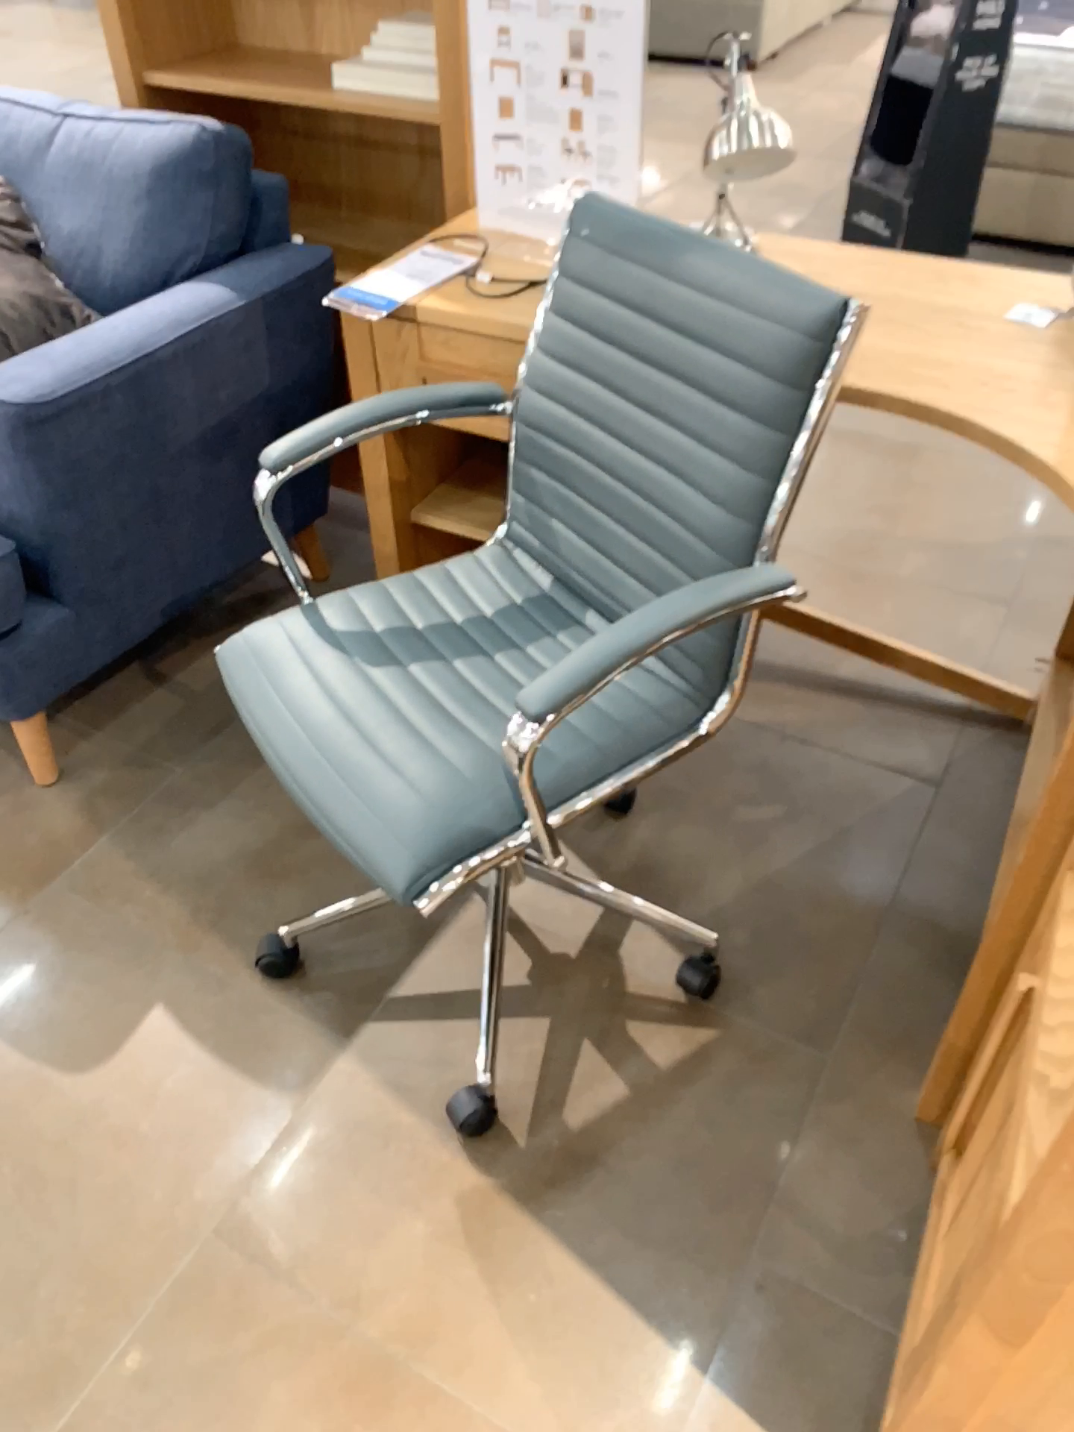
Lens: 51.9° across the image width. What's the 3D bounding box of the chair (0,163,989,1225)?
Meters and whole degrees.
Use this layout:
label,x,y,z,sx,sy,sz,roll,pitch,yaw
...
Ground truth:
label,x,y,z,sx,sy,sz,roll,pitch,yaw
chair,-0.064,-0.061,1.345,0.709,0.883,0.668,-25,46,-25
